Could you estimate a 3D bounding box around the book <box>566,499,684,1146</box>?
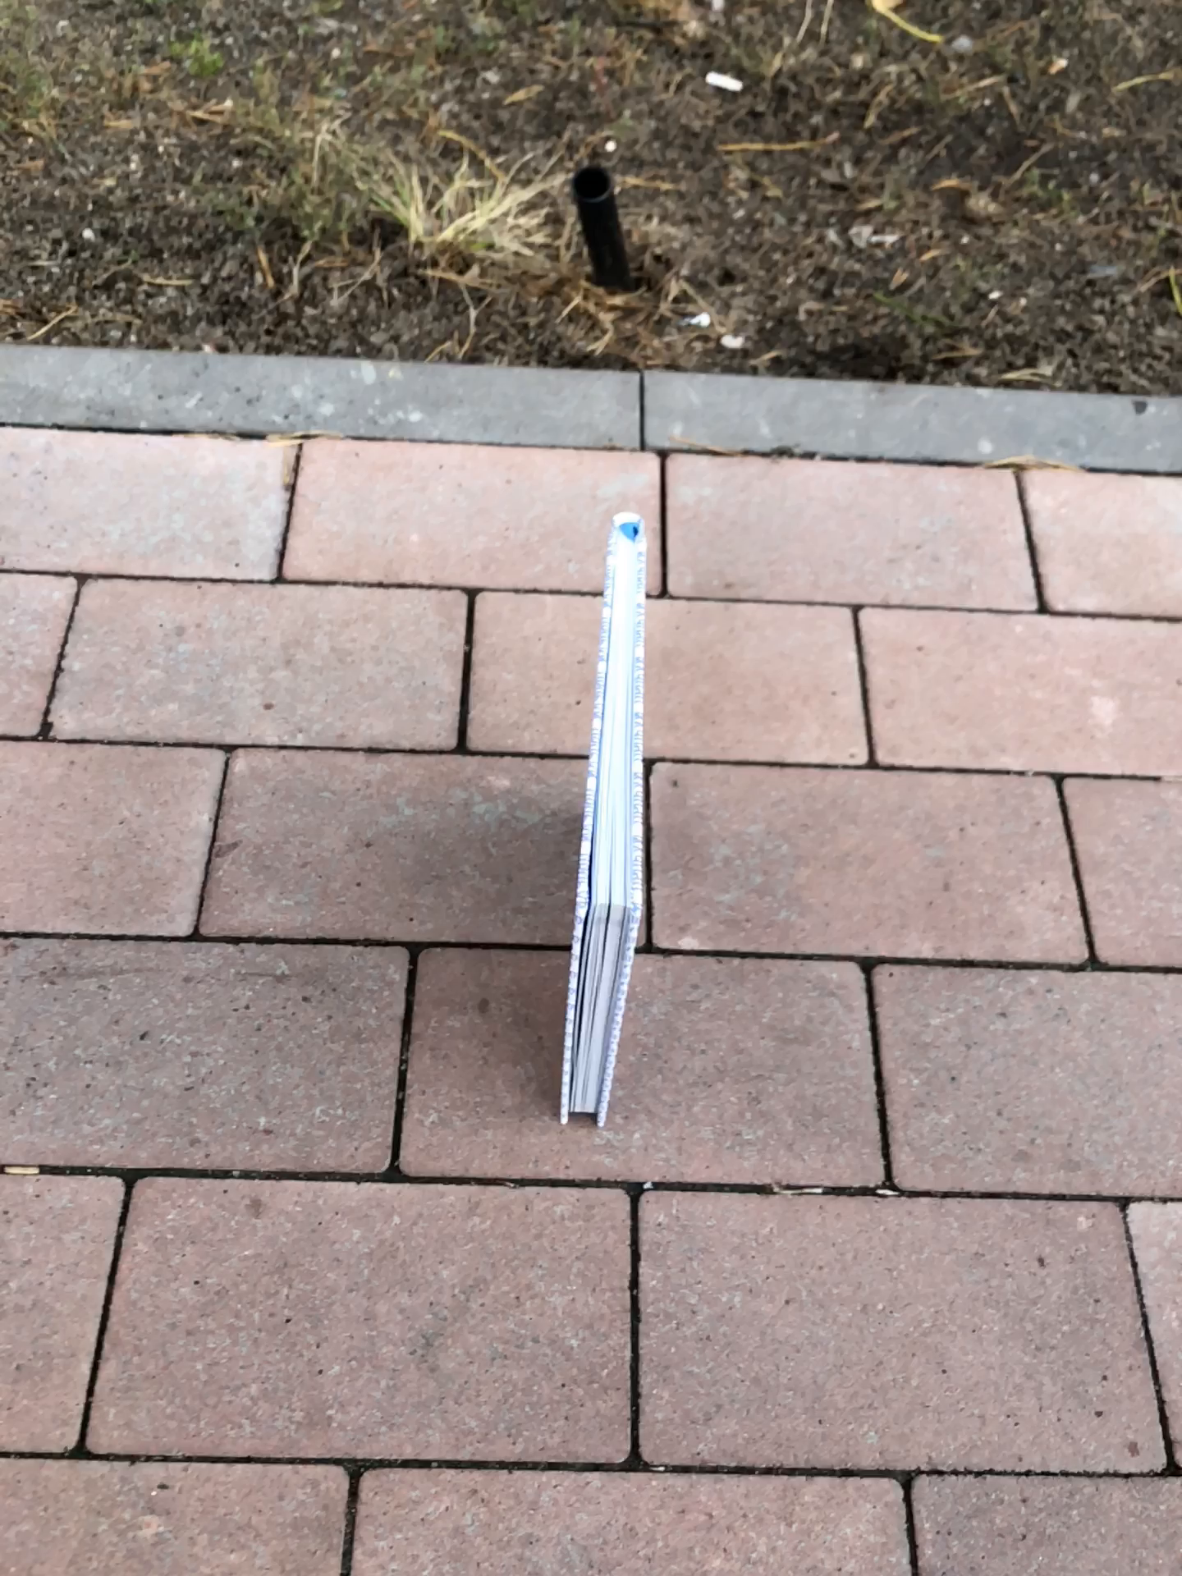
[{"bbox_3d":[0.010,0.023,0.462,0.022,0.196,0.152,4,59,-1],"label":"book"}]
